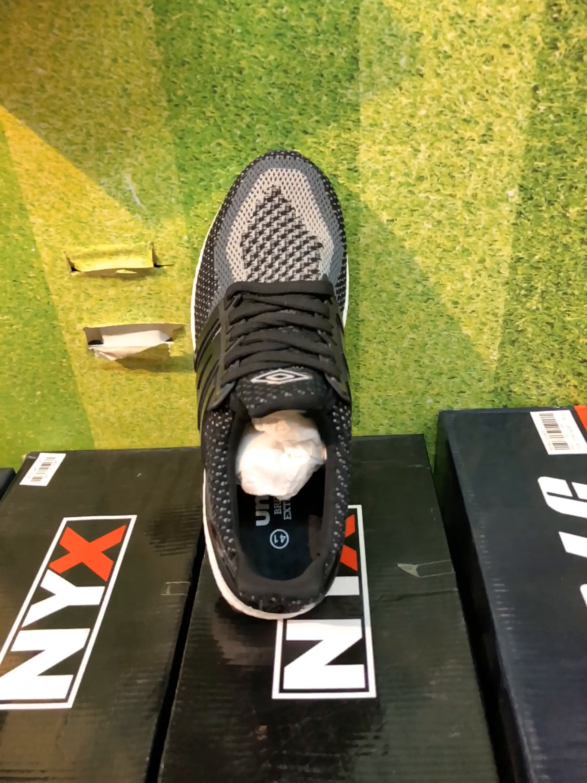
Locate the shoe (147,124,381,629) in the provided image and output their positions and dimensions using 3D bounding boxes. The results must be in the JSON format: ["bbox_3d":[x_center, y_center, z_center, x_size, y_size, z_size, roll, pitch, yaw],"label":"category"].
[{"bbox_3d":[-0.026,-0.005,0.399,0.111,0.122,0.270,1,74,-10],"label":"shoe"}]
